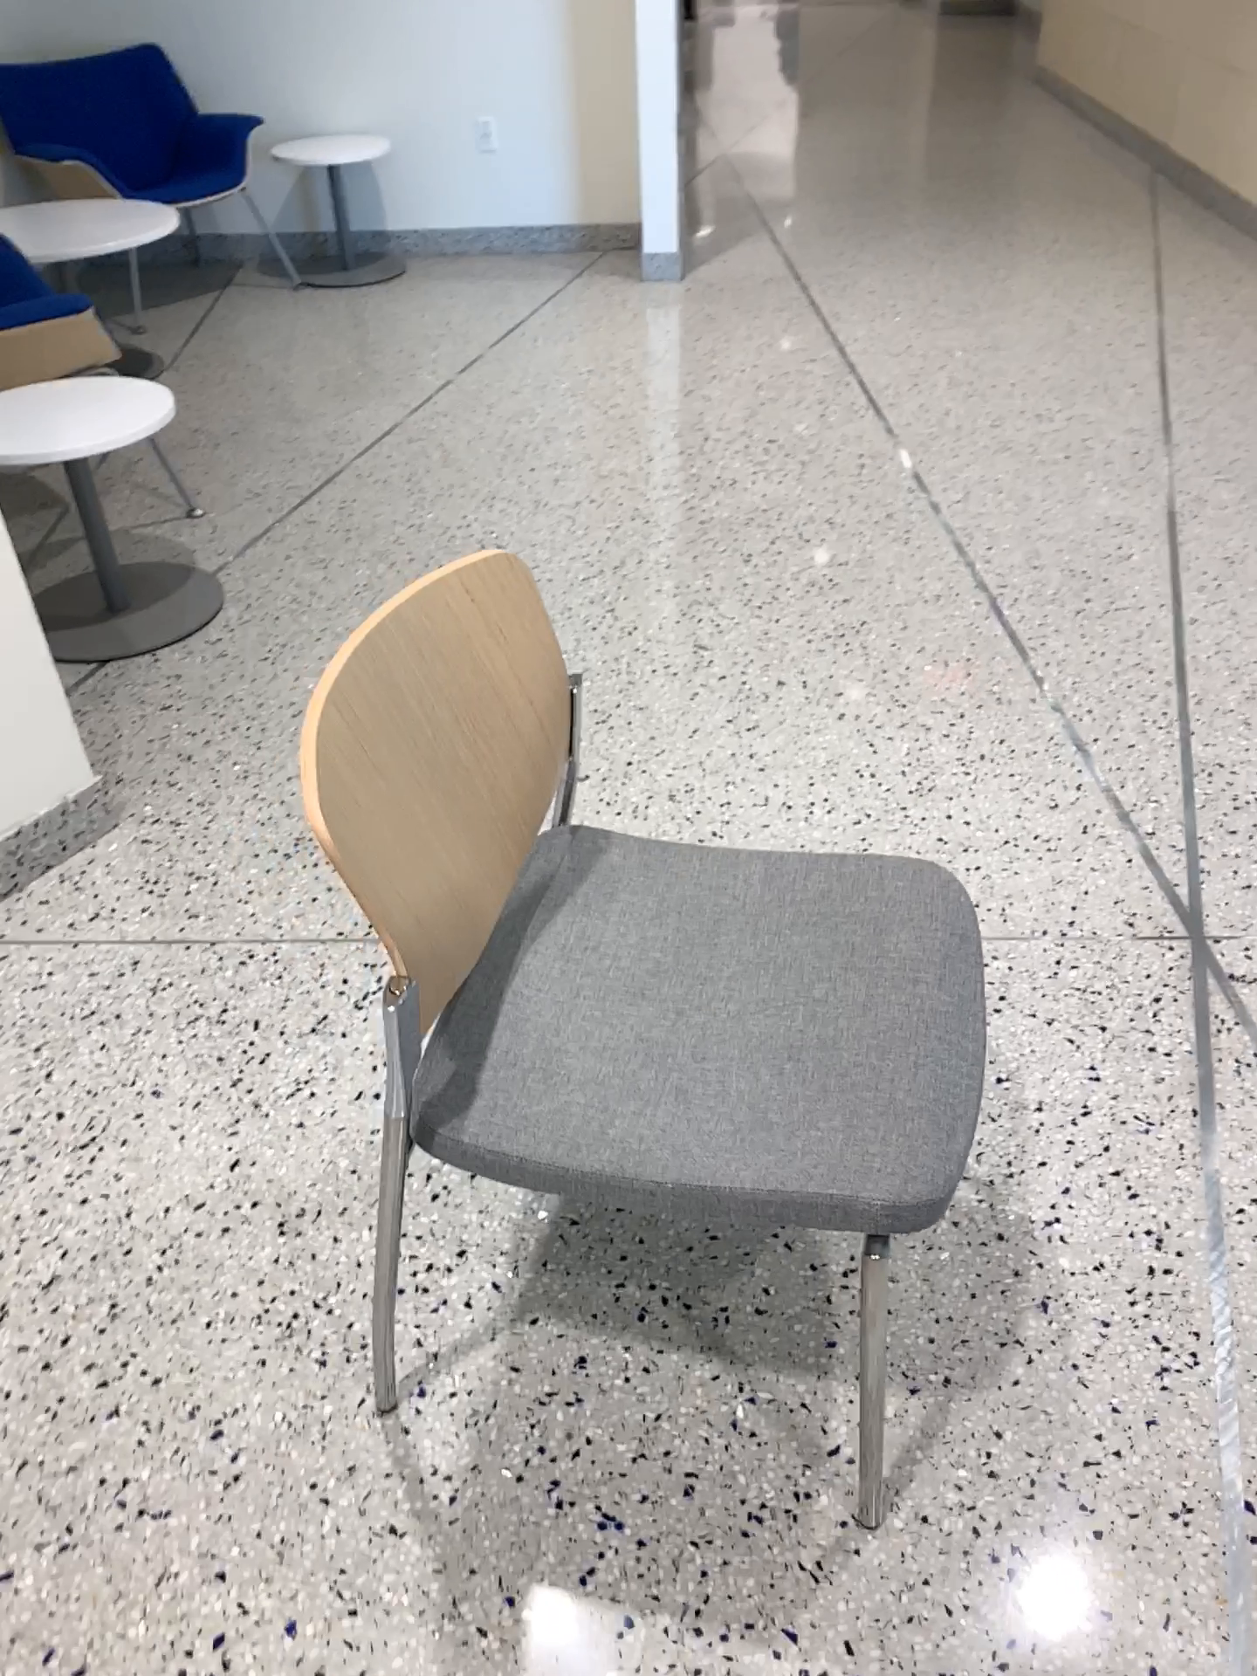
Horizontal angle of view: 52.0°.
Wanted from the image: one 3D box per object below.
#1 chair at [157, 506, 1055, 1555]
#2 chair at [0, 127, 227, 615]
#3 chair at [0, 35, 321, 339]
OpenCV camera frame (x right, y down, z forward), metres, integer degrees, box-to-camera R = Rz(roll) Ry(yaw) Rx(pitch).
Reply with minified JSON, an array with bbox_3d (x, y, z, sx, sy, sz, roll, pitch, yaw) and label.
[{"bbox_3d":[0.045,0.171,1.254,0.591,0.768,0.542,7,38,13],"label":"chair"},{"bbox_3d":[-1.513,-1.110,2.957,0.764,0.758,0.772,-25,43,-26],"label":"chair"},{"bbox_3d":[-1.700,-2.317,4.535,0.814,0.768,0.751,28,47,34],"label":"chair"}]
